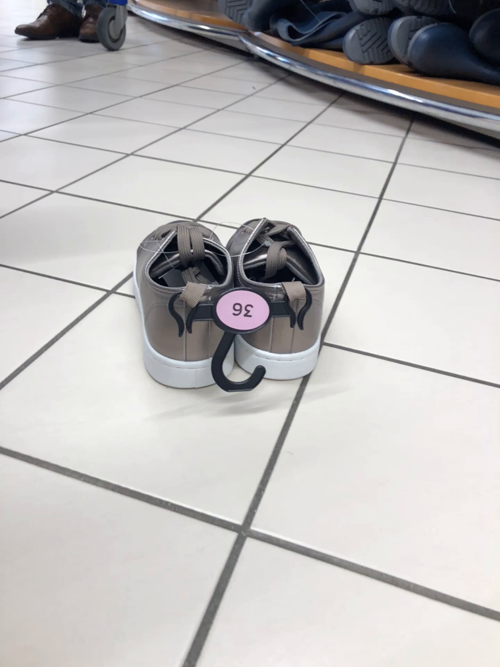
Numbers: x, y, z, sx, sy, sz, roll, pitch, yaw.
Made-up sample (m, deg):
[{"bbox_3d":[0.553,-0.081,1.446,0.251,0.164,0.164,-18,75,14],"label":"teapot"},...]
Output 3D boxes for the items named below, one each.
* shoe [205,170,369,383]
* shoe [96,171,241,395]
[{"bbox_3d":[0.016,-0.065,0.482,0.090,0.079,0.241,-1,34,-9],"label":"shoe"},{"bbox_3d":[-0.074,-0.059,0.465,0.090,0.079,0.241,-2,34,-11],"label":"shoe"}]
